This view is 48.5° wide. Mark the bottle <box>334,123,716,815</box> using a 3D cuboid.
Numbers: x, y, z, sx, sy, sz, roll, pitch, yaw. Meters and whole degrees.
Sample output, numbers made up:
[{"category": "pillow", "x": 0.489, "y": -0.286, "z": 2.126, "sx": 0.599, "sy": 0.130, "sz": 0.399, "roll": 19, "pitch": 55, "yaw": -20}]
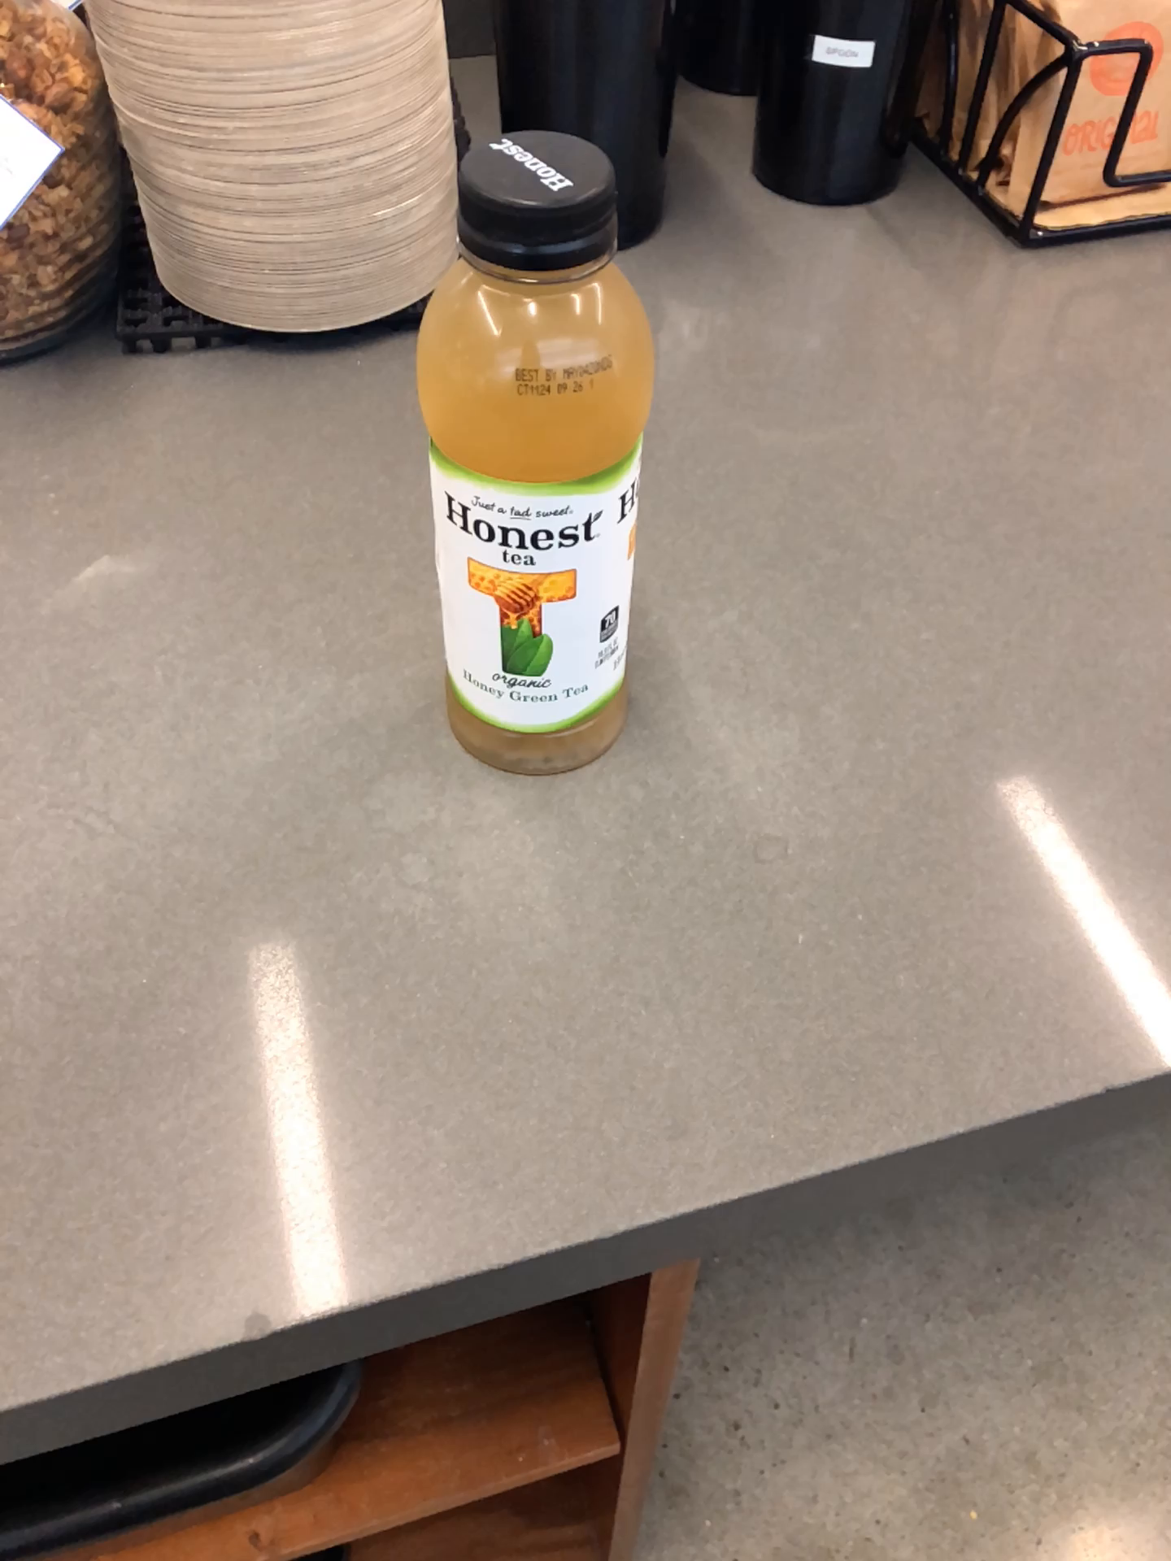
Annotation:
[{"category": "bottle", "x": -0.014, "y": -0.086, "z": 0.406, "sx": 0.090, "sy": 0.189, "sz": 0.090, "roll": 1, "pitch": 50, "yaw": -1}]
